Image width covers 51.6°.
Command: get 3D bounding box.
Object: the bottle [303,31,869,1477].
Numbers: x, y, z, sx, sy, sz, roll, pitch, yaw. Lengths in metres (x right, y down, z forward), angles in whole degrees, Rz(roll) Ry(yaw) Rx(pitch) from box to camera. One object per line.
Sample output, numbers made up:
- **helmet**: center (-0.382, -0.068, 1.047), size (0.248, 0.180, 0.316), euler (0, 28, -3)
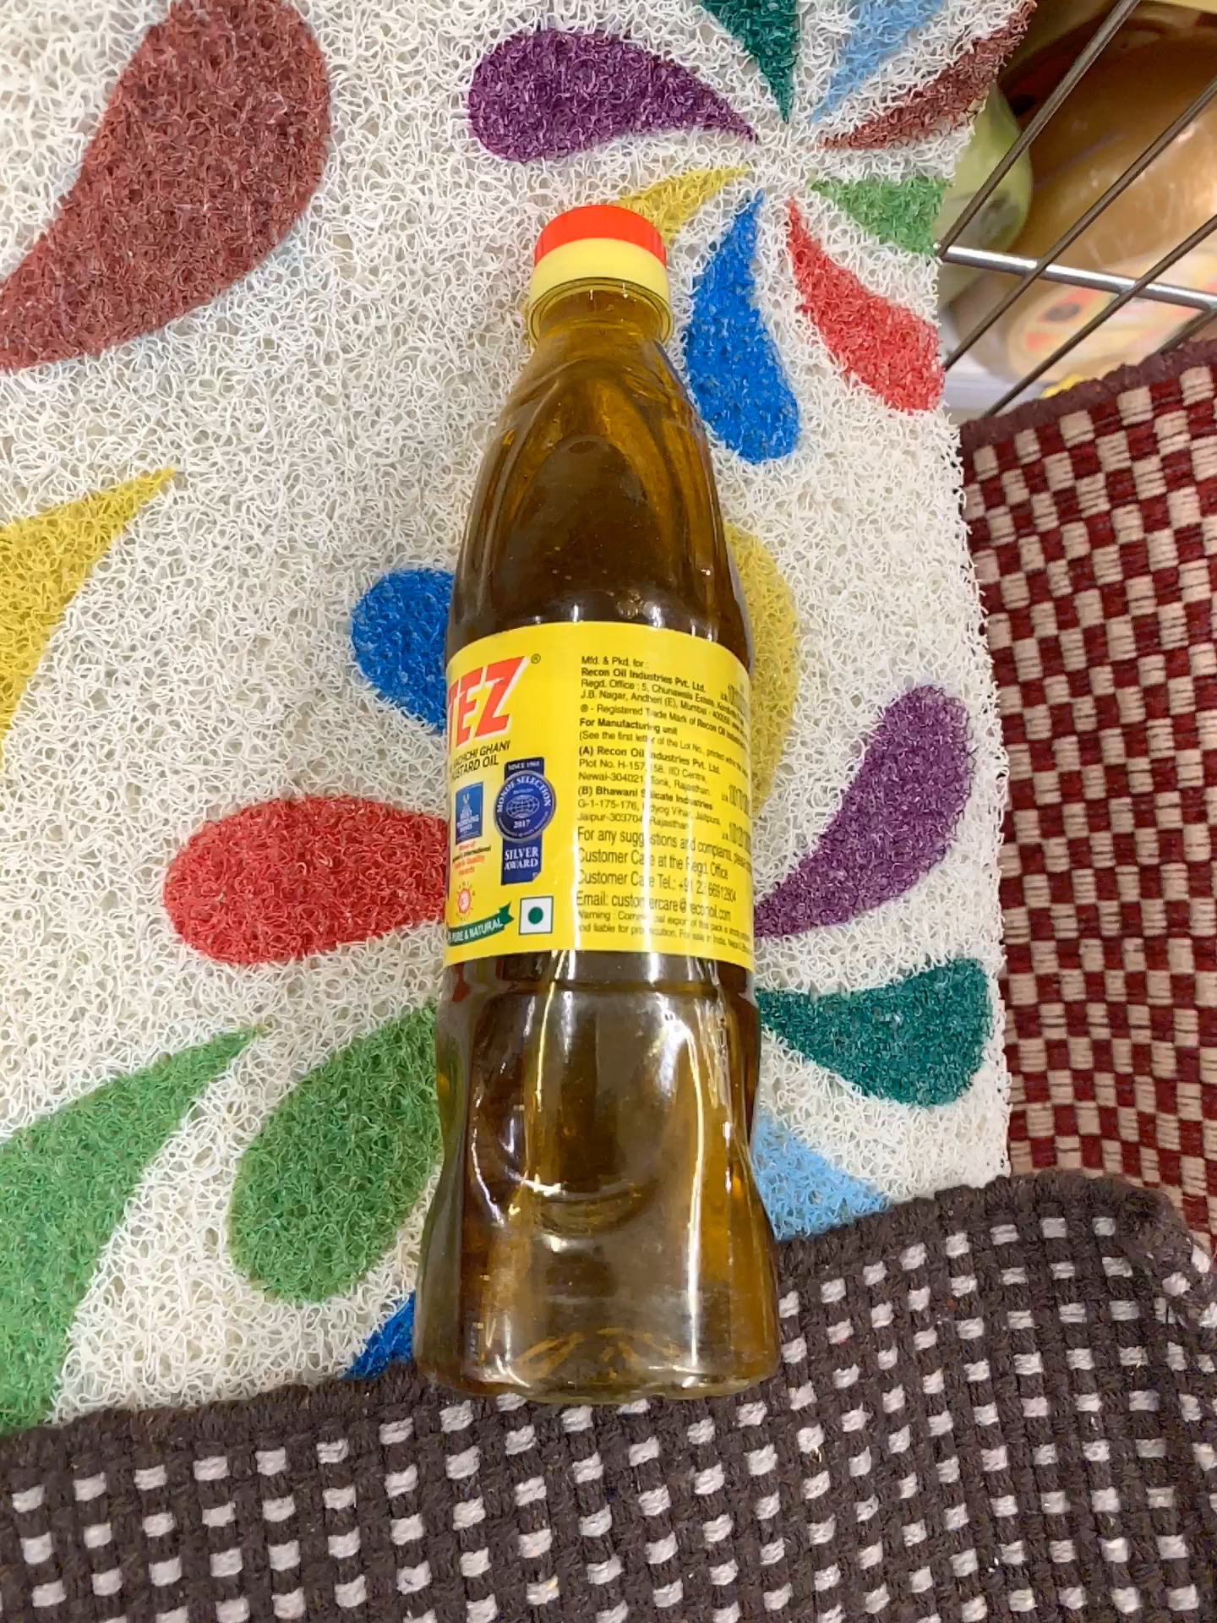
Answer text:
- **bottle**: center (-0.004, -0.010, 0.212), size (0.070, 0.060, 0.200), euler (5, 80, -25)
